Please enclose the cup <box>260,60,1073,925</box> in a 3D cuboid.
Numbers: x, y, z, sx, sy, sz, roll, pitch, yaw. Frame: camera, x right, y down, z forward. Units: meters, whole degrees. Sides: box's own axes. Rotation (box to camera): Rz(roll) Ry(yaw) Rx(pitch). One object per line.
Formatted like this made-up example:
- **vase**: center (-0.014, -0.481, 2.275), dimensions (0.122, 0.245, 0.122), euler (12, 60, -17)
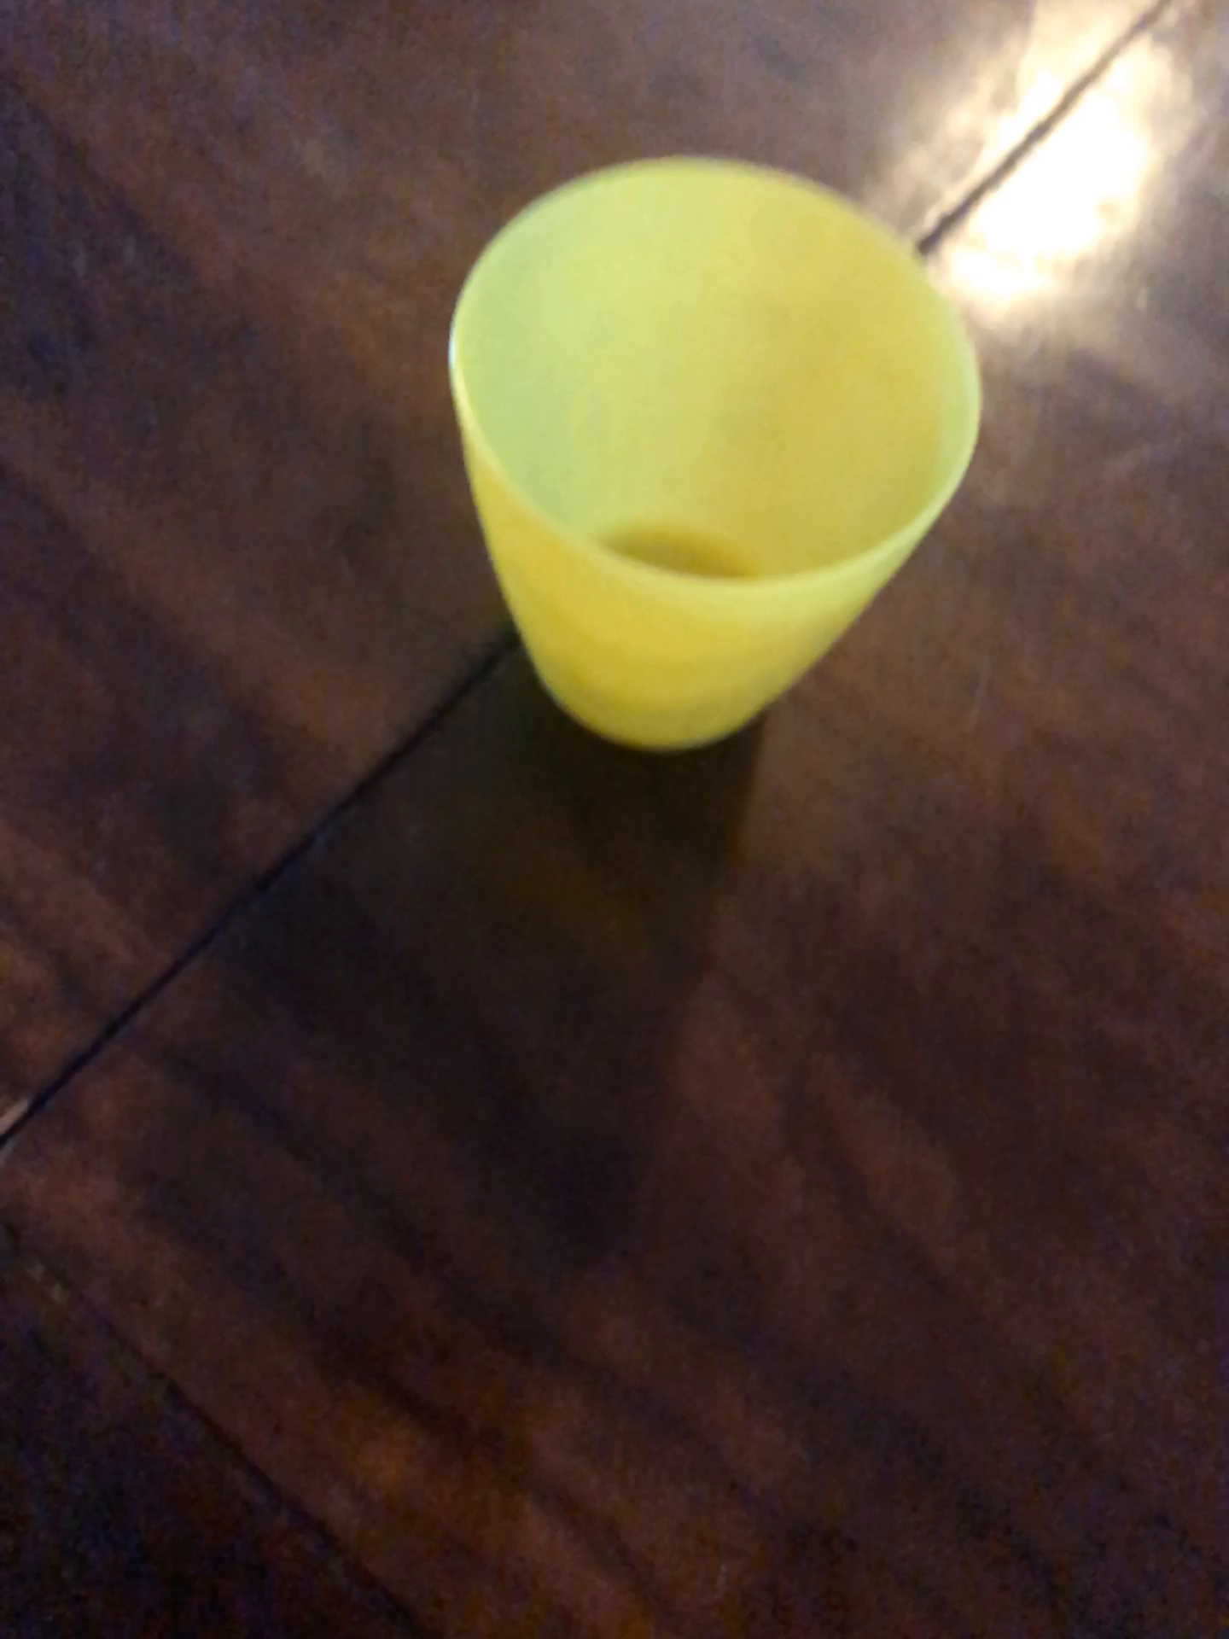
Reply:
- **cup**: center (0.005, -0.049, 0.229), dimensions (0.080, 0.080, 0.080), euler (2, 67, -5)
